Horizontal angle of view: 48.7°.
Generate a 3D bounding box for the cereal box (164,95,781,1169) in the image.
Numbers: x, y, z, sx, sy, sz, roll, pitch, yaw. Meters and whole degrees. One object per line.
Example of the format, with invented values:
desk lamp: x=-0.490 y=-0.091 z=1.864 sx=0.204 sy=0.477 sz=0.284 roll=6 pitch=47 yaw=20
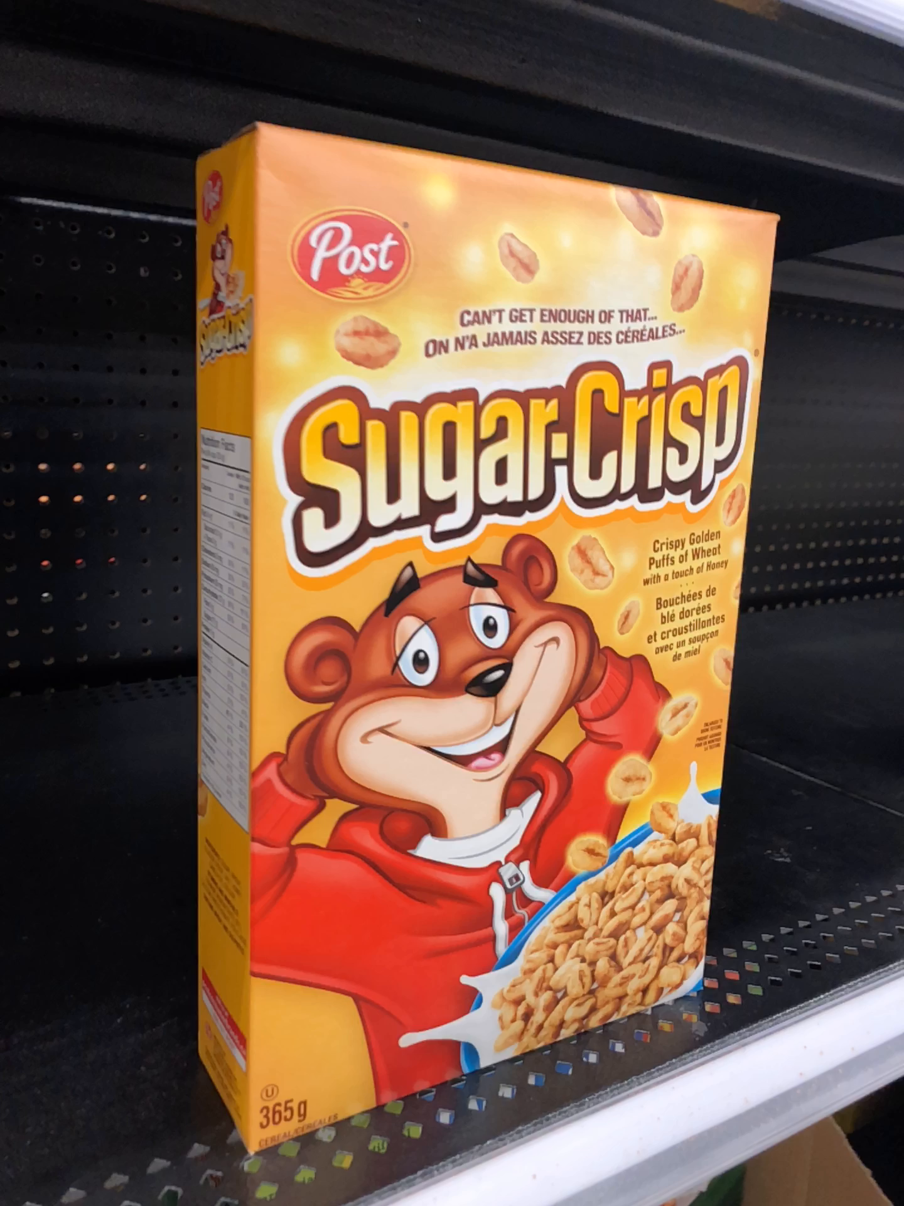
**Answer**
cereal box: x=0.007 y=0.011 z=0.356 sx=0.200 sy=0.309 sz=0.060 roll=-4 pitch=13 yaw=-30
